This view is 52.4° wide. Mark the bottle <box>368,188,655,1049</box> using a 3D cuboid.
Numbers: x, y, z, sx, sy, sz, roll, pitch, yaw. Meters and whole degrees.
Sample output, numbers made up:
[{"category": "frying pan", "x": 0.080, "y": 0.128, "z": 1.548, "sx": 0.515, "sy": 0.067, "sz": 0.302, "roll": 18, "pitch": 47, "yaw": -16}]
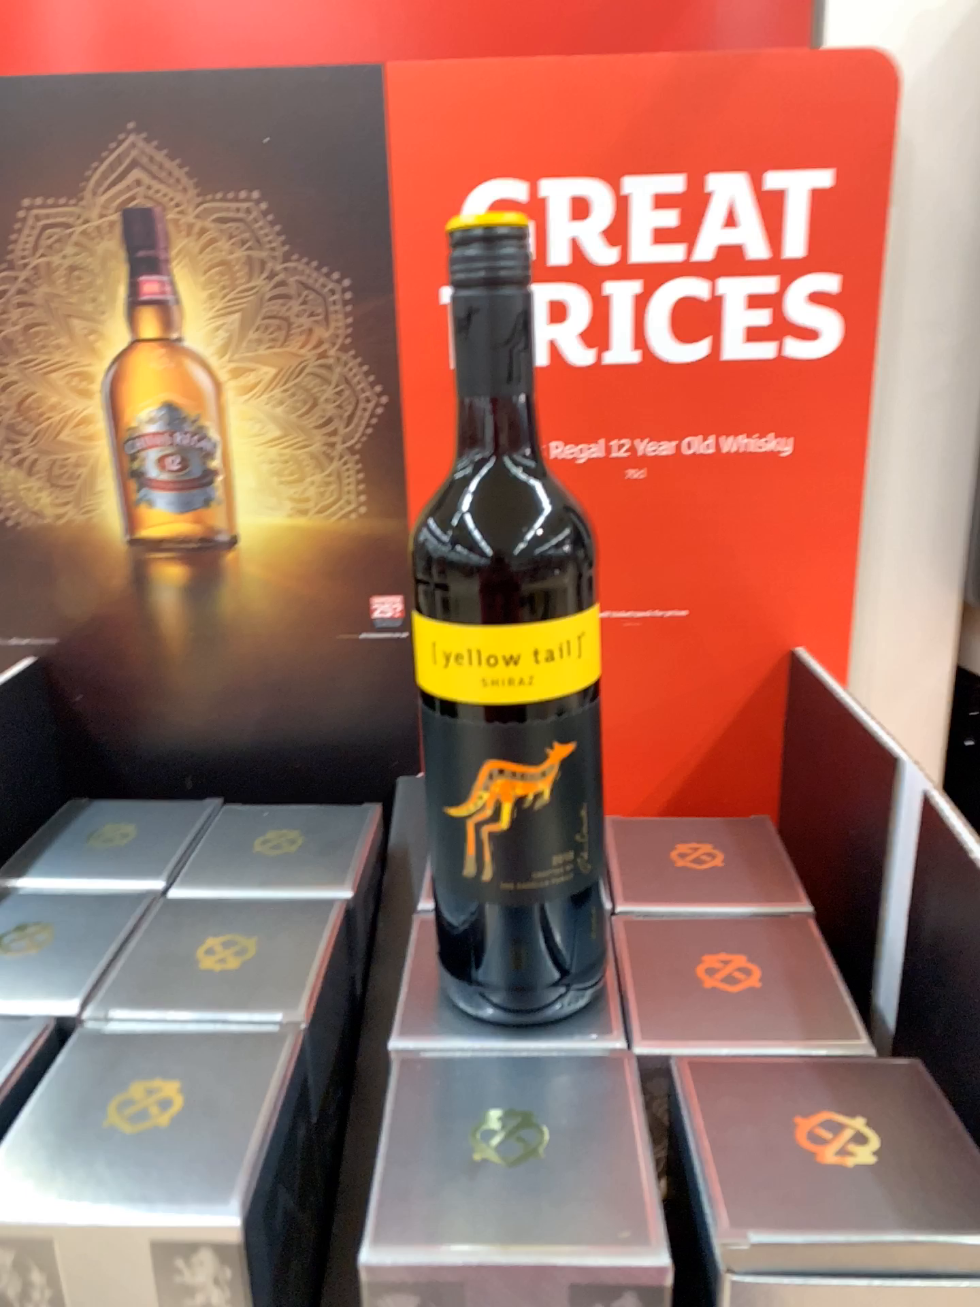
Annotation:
[{"category": "bottle", "x": 0.009, "y": -0.005, "z": 0.385, "sx": 0.086, "sy": 0.308, "sz": 0.082, "roll": -1, "pitch": 18, "yaw": 0}]
